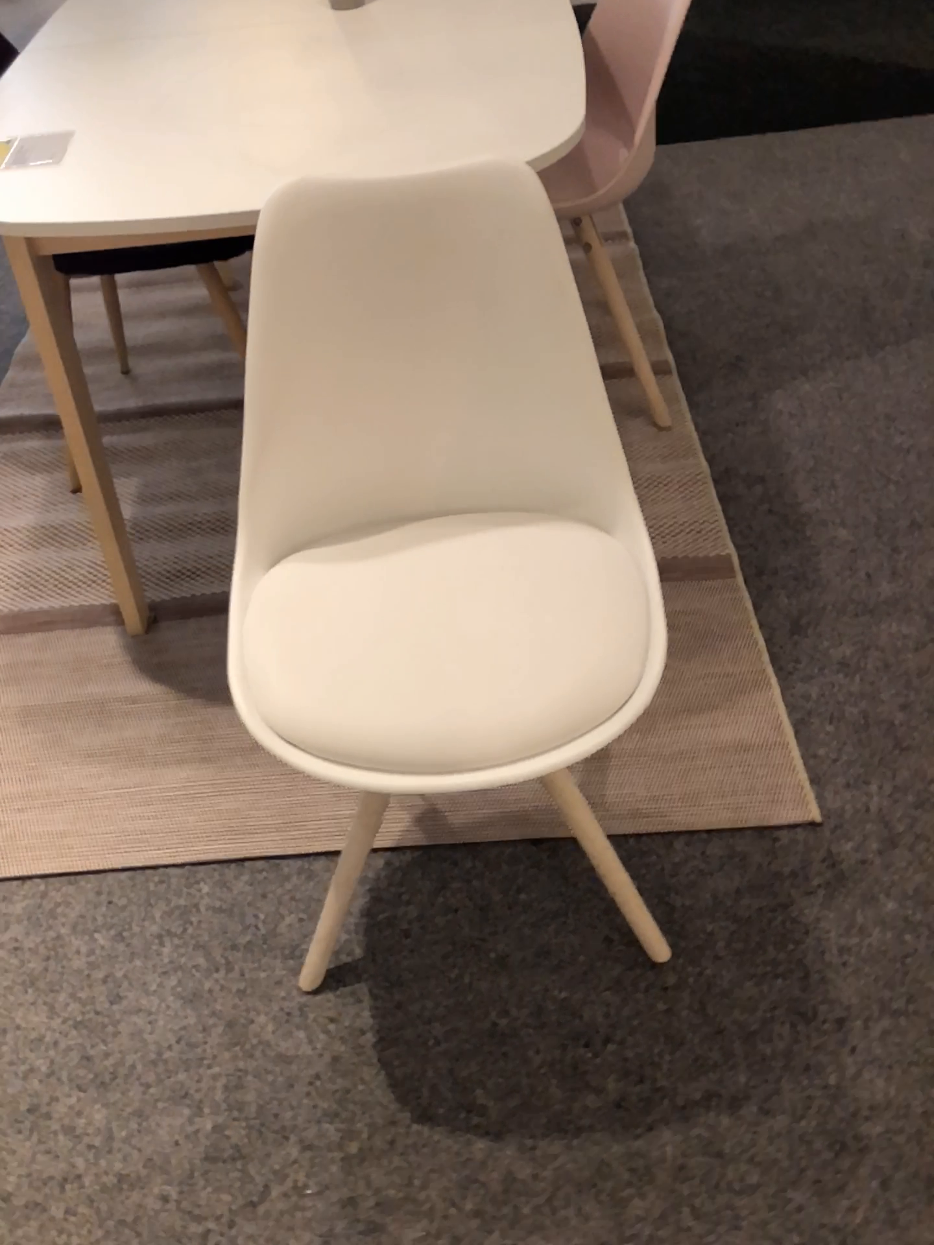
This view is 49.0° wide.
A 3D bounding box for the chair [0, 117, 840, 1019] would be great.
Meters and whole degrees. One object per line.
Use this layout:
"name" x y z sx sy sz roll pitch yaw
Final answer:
"chair" -0.014 -0.030 1.142 0.550 0.756 0.593 -5 45 2
